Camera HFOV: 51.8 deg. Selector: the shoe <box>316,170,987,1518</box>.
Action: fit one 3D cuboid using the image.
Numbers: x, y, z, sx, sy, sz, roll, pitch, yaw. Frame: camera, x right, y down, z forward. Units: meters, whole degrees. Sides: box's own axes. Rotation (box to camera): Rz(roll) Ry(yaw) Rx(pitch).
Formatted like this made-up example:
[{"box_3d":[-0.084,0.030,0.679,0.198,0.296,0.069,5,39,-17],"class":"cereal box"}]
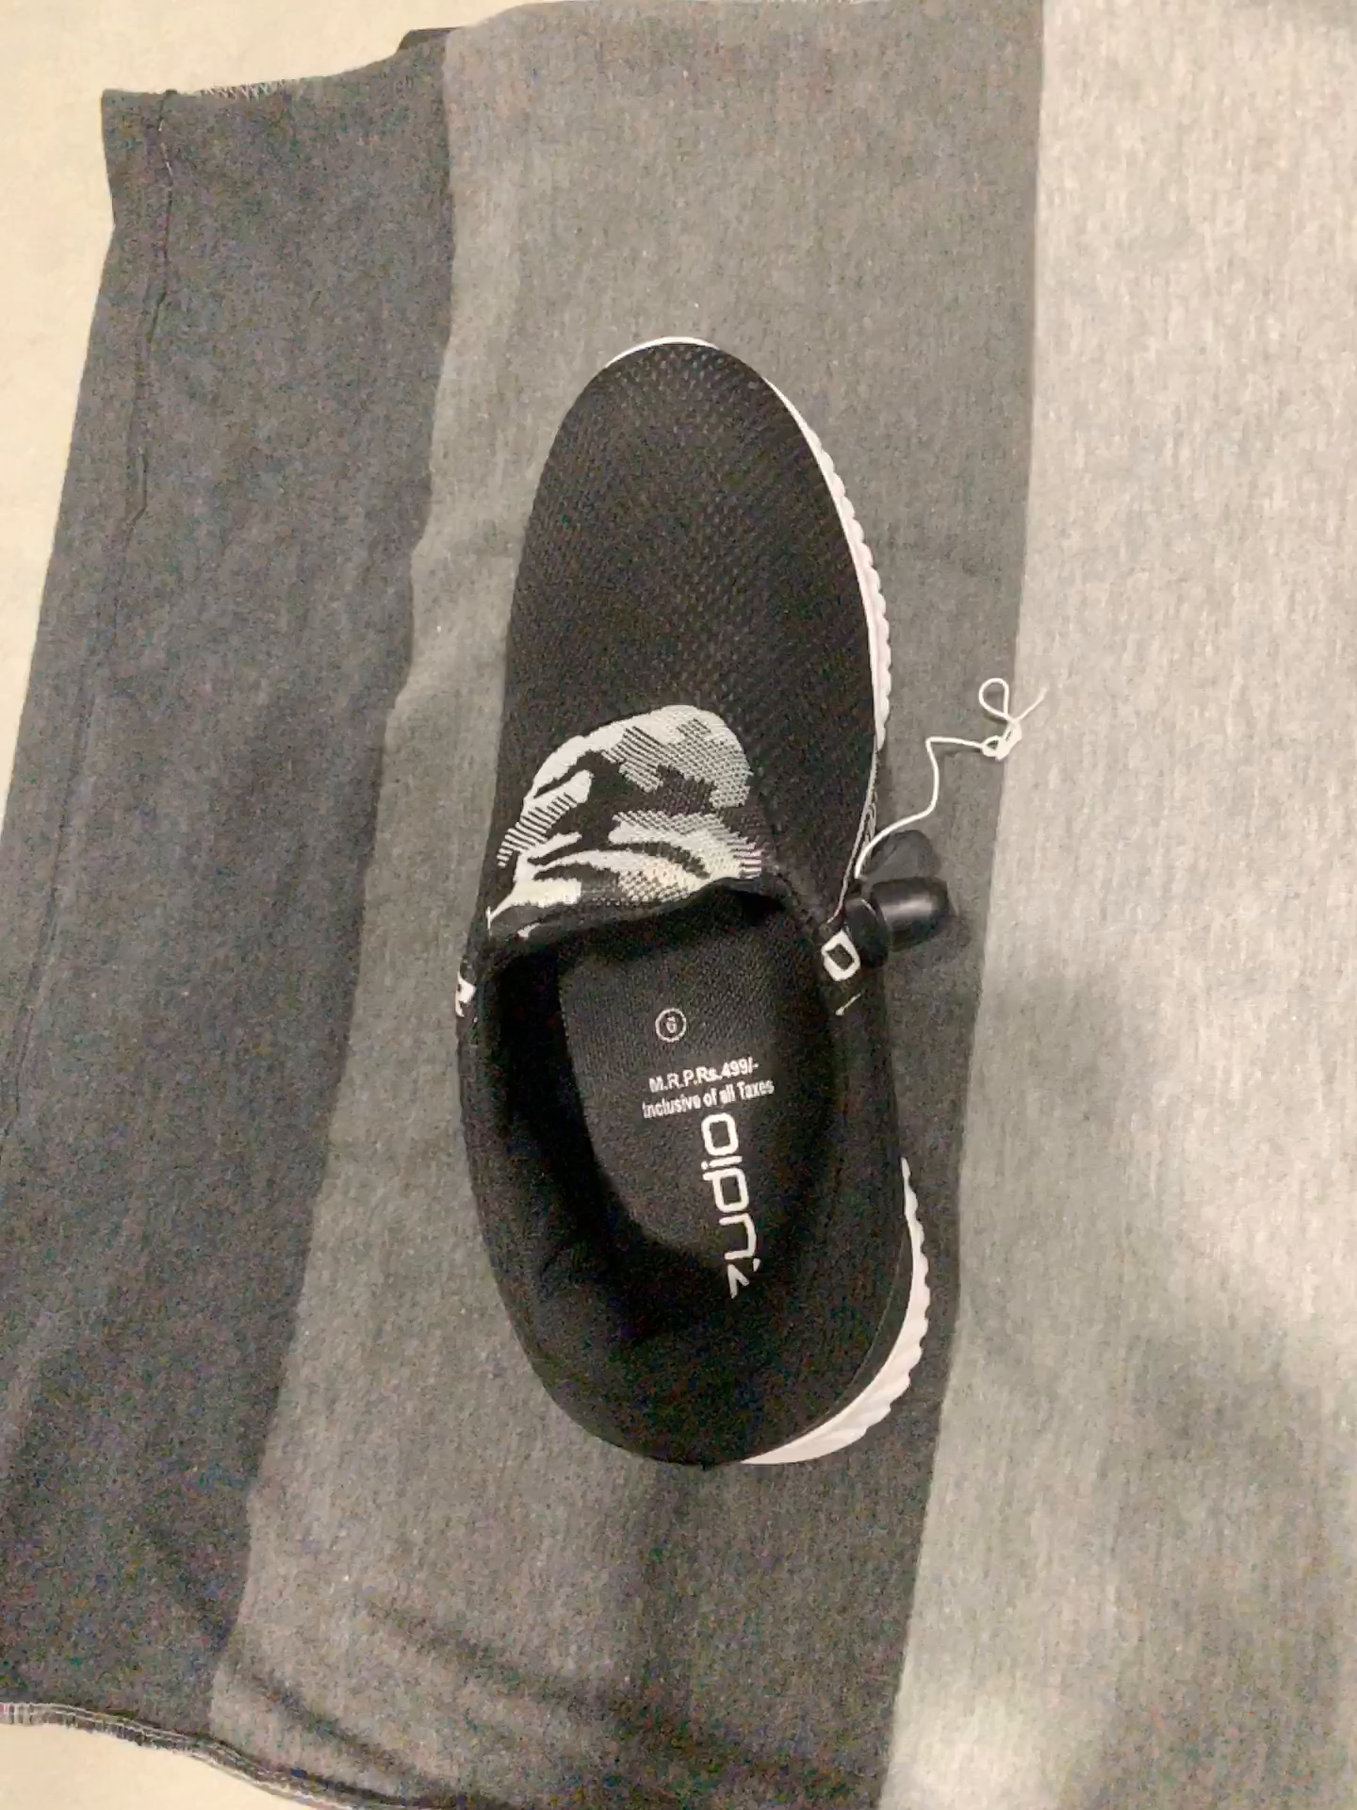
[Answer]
[{"box_3d":[-0.004,-0.007,0.303,0.100,0.100,0.240,-8,78,17],"class":"shoe"}]
